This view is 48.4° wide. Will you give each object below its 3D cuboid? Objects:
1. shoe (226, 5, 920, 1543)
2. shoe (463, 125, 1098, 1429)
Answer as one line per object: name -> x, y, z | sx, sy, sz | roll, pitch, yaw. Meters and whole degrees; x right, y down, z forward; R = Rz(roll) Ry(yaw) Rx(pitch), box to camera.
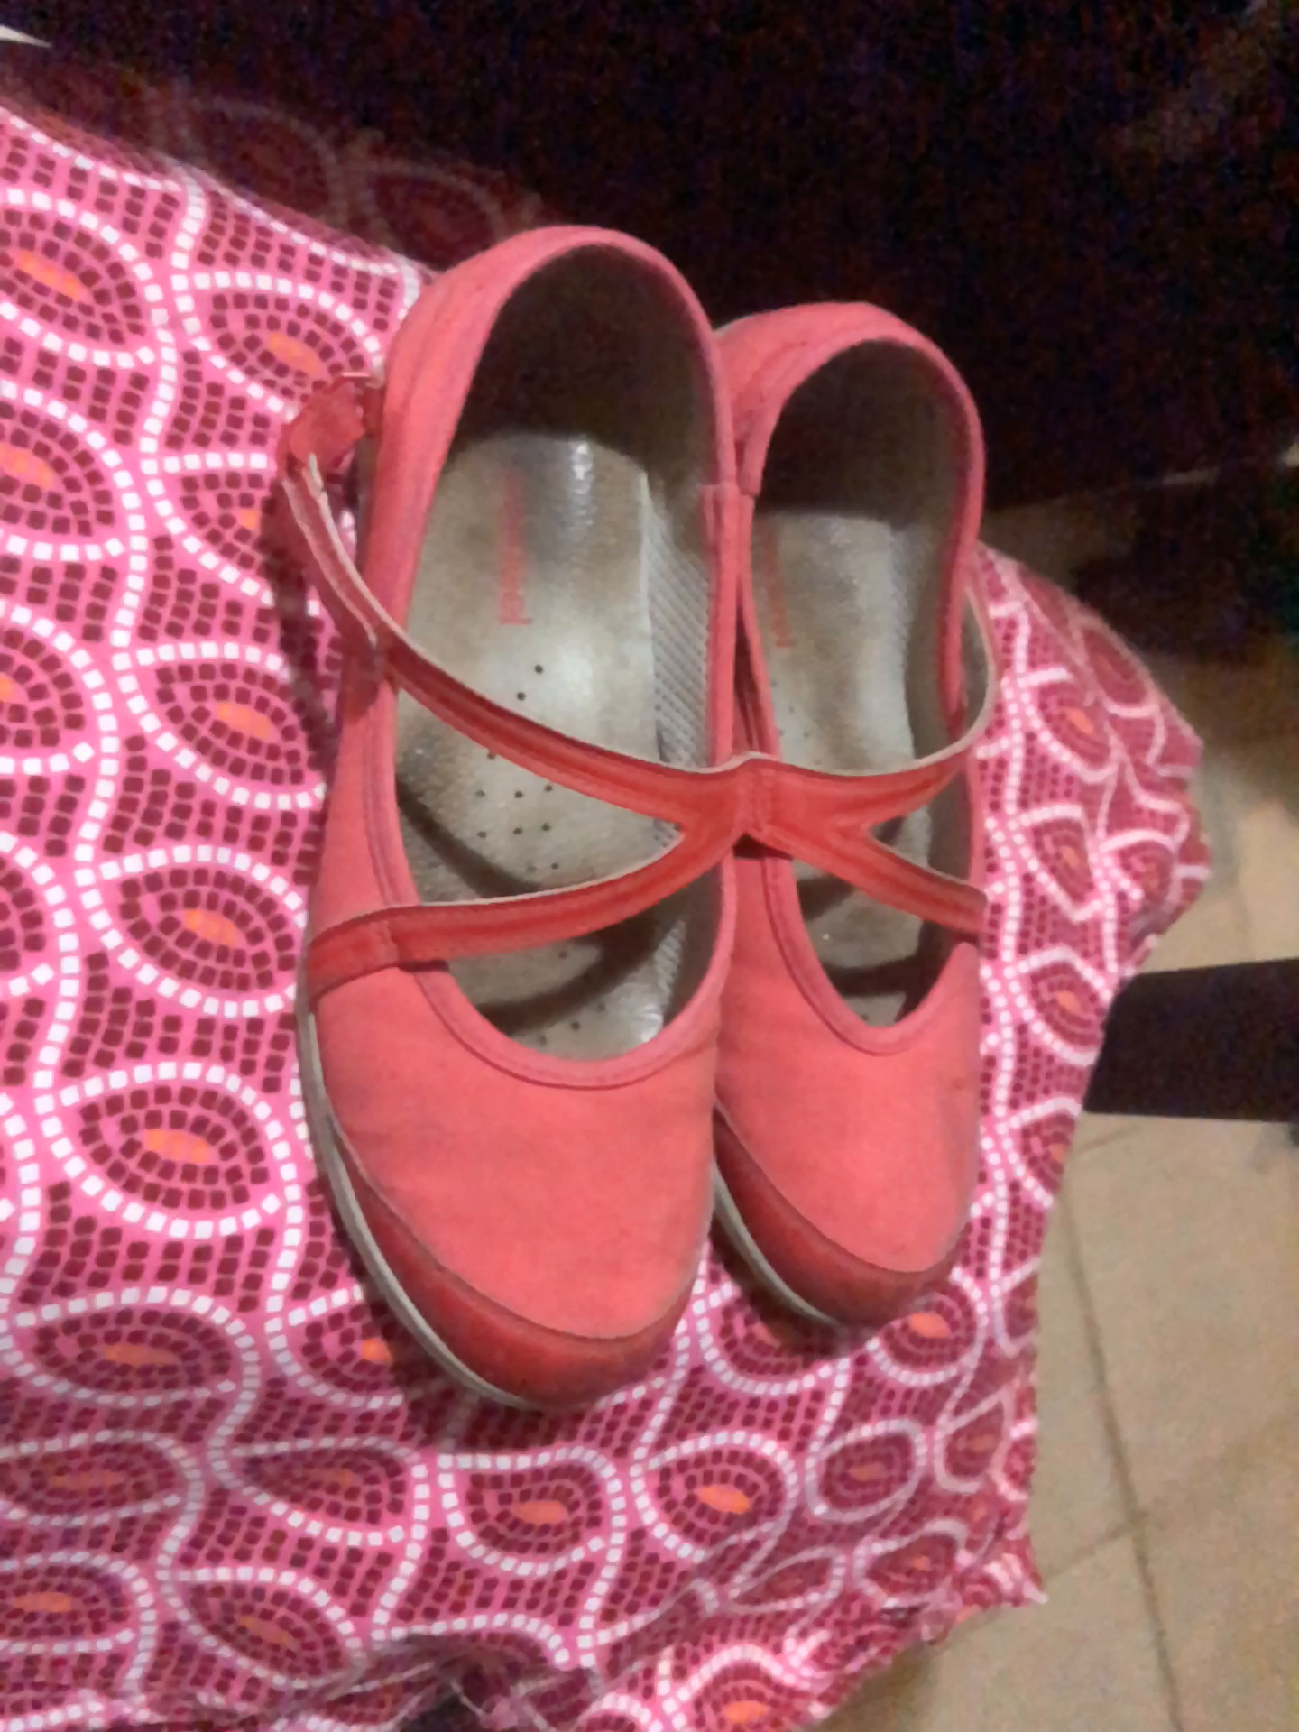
shoe -> -0.024, -0.019, 0.341 | 0.111, 0.099, 0.290 | -1, 84, -32
shoe -> 0.031, -0.022, 0.400 | 0.111, 0.099, 0.300 | -2, 85, -33
